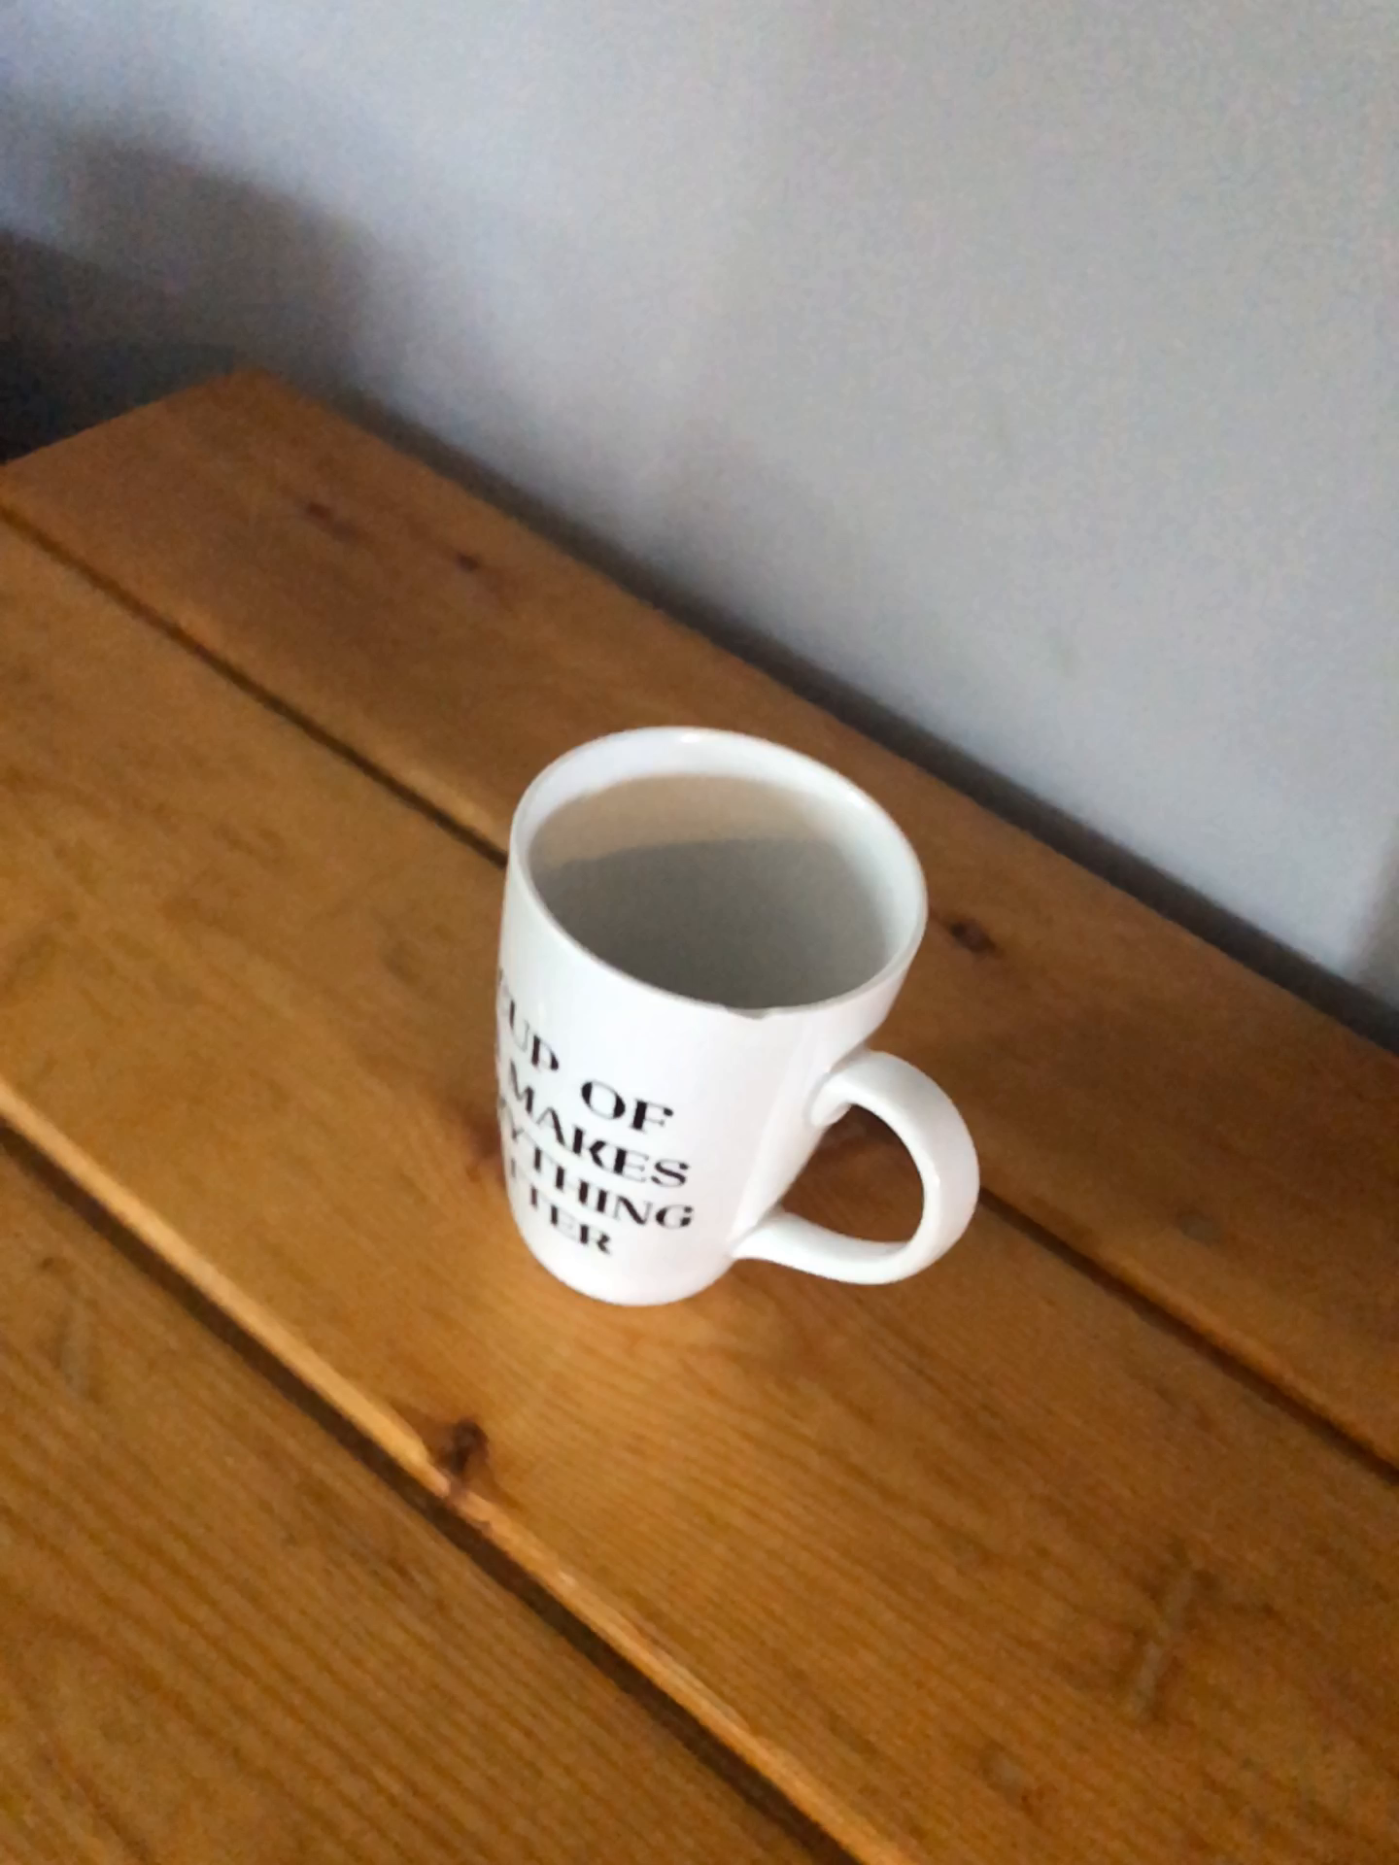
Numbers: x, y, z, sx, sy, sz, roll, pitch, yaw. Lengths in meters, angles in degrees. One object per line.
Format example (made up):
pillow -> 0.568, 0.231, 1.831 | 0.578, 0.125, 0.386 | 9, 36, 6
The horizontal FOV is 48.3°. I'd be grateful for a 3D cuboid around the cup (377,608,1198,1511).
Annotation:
cup -> 0.009, 0.026, 0.364 | 0.100, 0.120, 0.140 | -30, 60, -34
